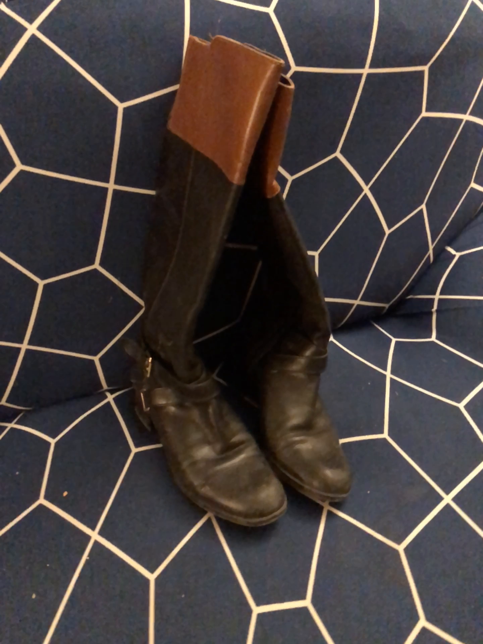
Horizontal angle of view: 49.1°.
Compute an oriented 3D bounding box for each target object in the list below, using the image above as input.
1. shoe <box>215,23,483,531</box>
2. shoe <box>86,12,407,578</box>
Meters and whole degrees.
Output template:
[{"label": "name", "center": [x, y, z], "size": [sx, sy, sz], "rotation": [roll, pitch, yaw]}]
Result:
[{"label": "shoe", "center": [0.056, -0.030, 0.483], "size": [0.100, 0.377, 0.252], "rotation": [-8, 42, -13]}, {"label": "shoe", "center": [-0.035, -0.014, 0.486], "size": [0.110, 0.427, 0.272], "rotation": [-13, 42, -22]}]
